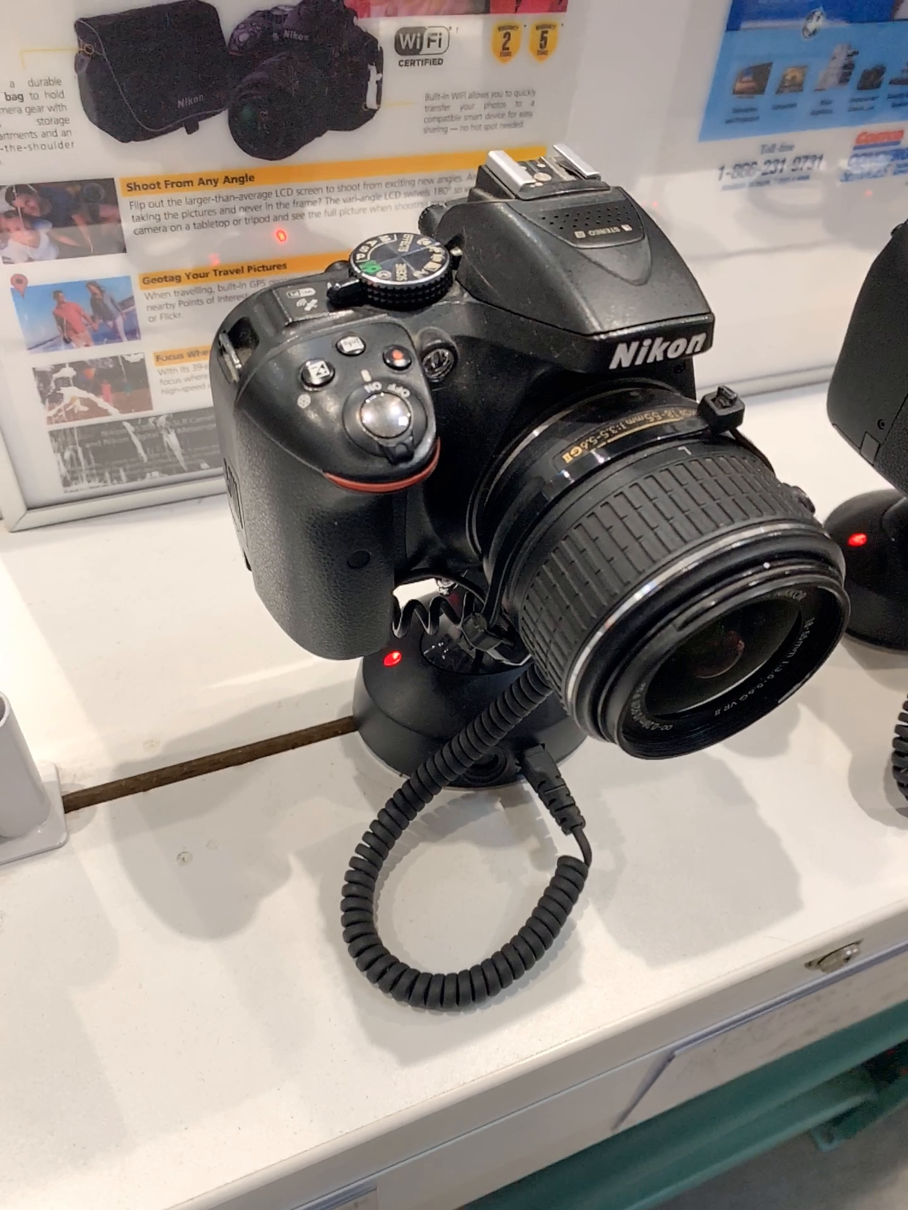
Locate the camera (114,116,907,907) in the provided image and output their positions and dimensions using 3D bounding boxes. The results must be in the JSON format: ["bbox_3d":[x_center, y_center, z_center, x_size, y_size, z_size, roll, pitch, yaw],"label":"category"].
[{"bbox_3d":[0.012,-0.036,0.200,0.120,0.069,0.141,-17,50,-22],"label":"camera"}]
